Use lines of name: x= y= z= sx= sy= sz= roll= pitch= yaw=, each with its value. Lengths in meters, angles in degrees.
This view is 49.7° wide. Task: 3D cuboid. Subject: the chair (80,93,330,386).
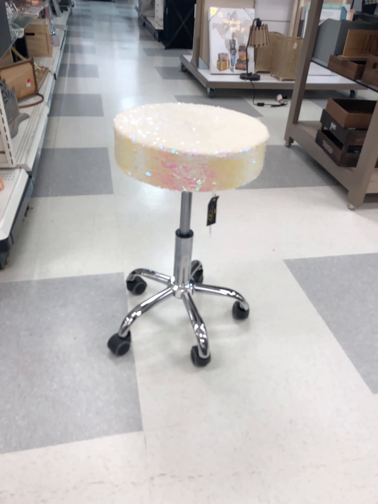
chair: x=-0.018 y=-0.056 z=1.074 sx=0.466 sy=0.591 sz=0.439 roll=-5 pitch=34 yaw=-12

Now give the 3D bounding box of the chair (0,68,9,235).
chair: x=-0.754 y=-0.306 z=1.205 sx=0.305 sy=0.382 sz=0.308 roll=-5 pitch=34 yaw=-12
